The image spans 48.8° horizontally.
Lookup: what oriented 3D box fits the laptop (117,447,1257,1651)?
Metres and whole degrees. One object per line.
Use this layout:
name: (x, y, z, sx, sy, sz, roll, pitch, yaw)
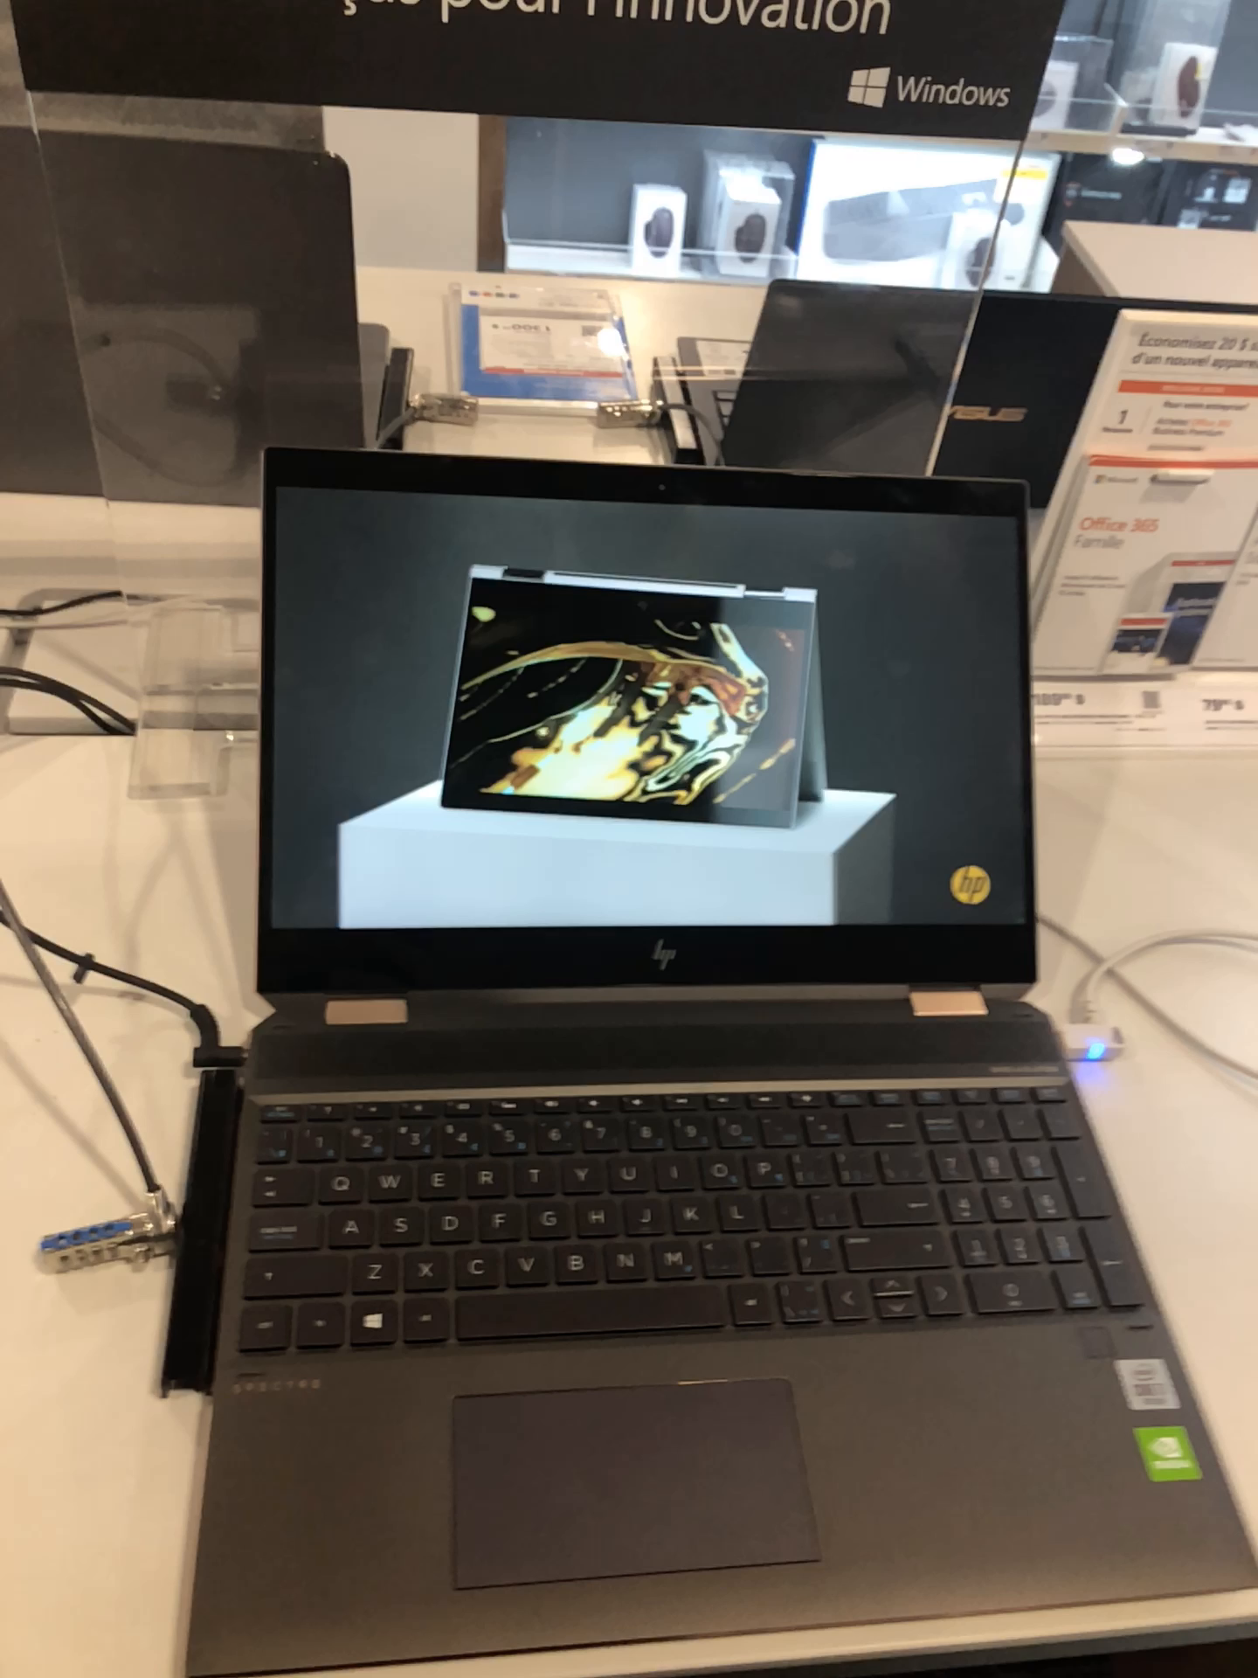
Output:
laptop: (0.025, 0.036, 0.523, 0.333, 0.145, 0.426, 0, 47, -6)
